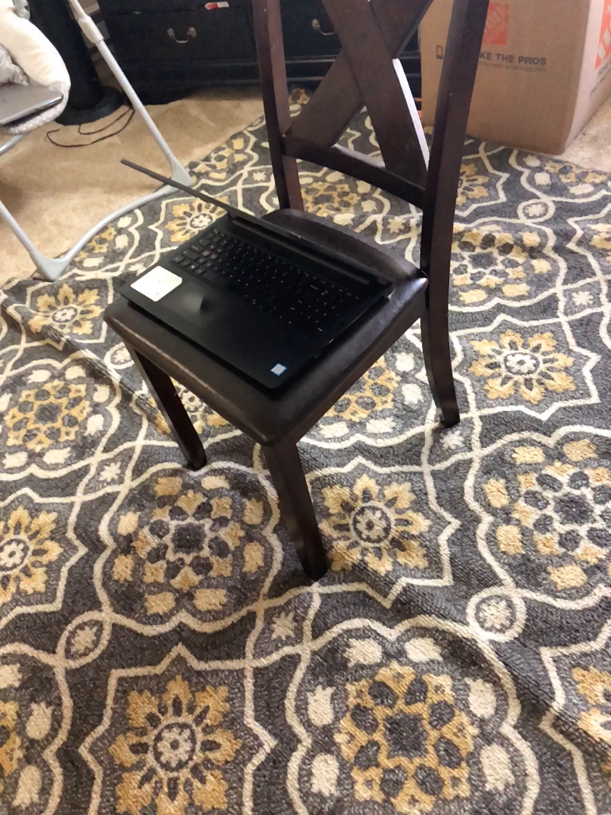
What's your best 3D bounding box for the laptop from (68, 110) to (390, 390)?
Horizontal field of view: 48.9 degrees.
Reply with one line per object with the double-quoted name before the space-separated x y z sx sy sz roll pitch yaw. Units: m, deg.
"laptop" -0.104 -0.242 0.968 0.367 0.185 0.245 32 63 31
